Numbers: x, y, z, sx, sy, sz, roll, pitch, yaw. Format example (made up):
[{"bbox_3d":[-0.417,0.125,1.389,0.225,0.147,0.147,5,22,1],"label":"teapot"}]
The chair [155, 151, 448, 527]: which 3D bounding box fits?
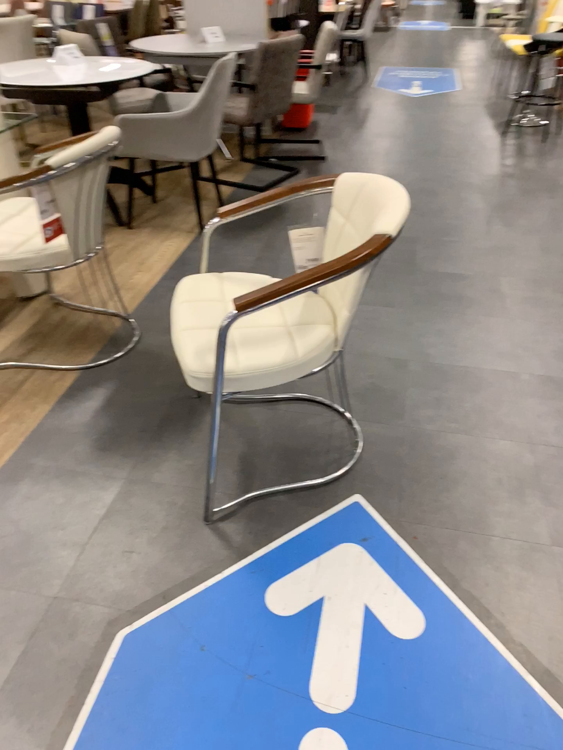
[{"bbox_3d":[0.000,-0.118,1.635,0.600,0.815,0.603,-6,36,-8],"label":"chair"}]
